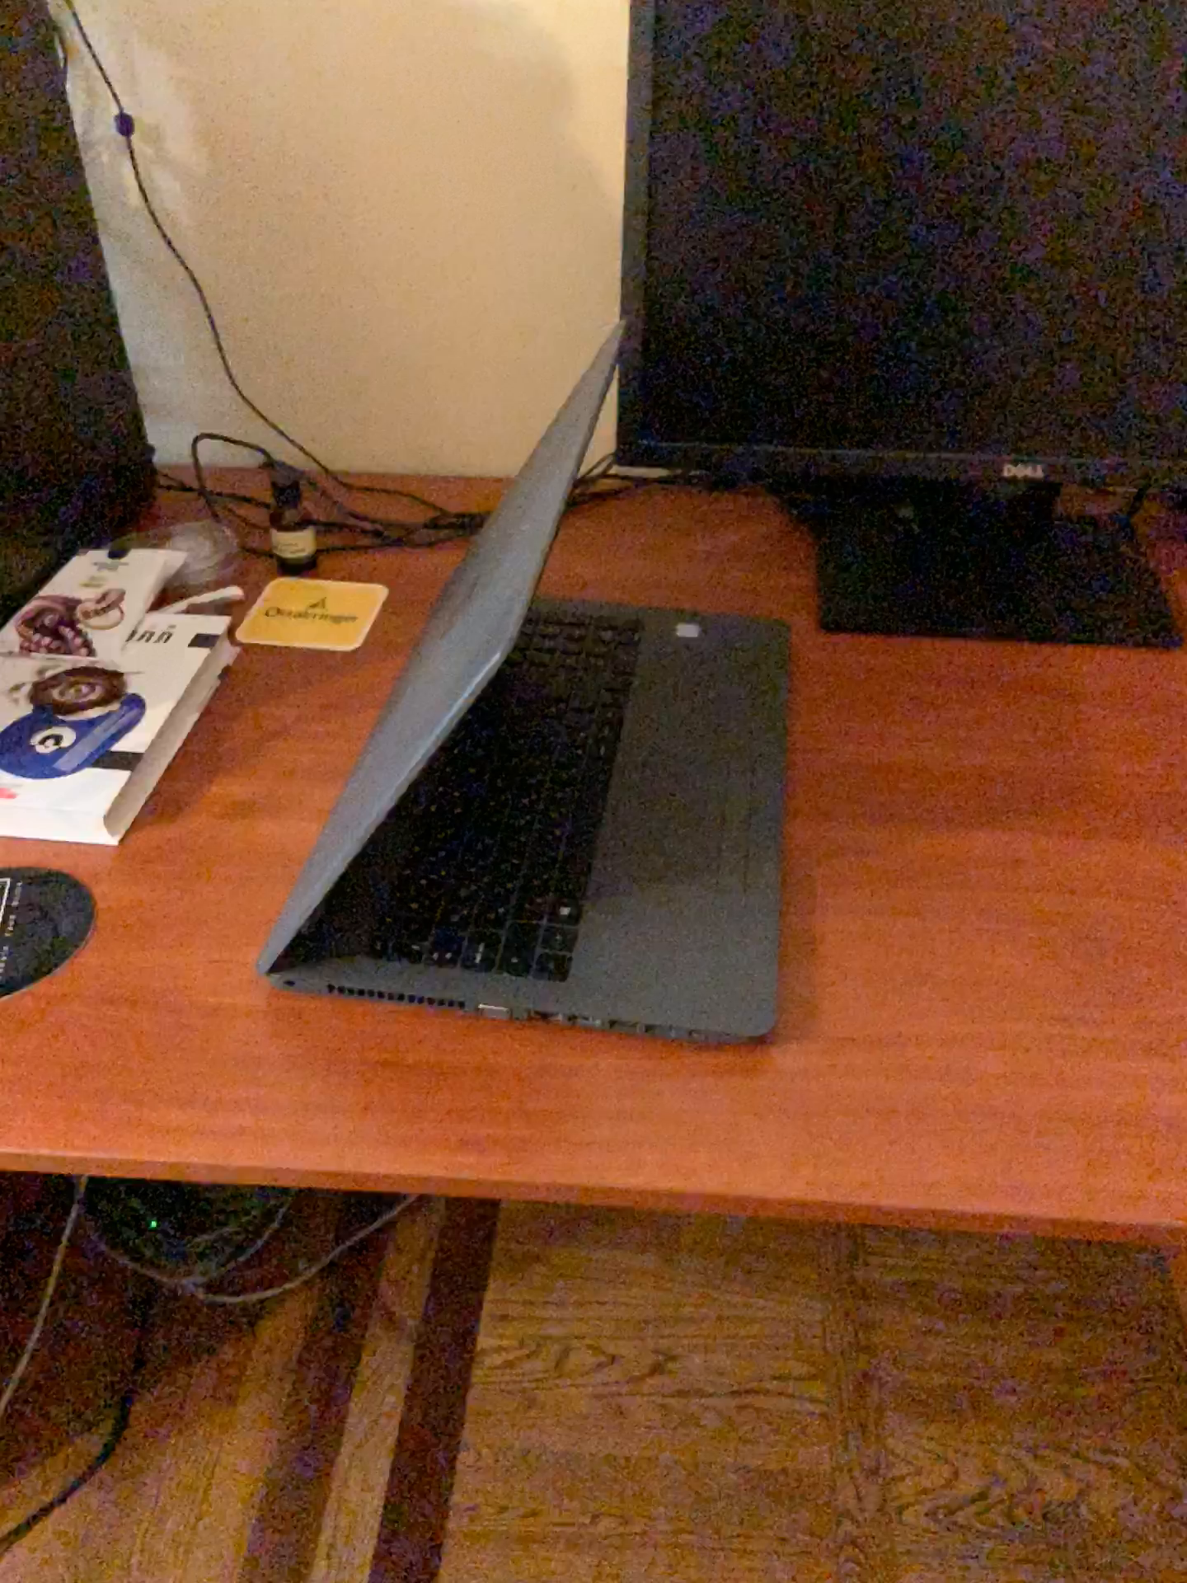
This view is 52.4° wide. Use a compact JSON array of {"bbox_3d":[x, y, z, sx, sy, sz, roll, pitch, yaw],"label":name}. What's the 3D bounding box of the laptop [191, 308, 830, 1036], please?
[{"bbox_3d":[-0.008,-0.094,0.670,0.248,0.207,0.377,6,39,6],"label":"laptop"}]
